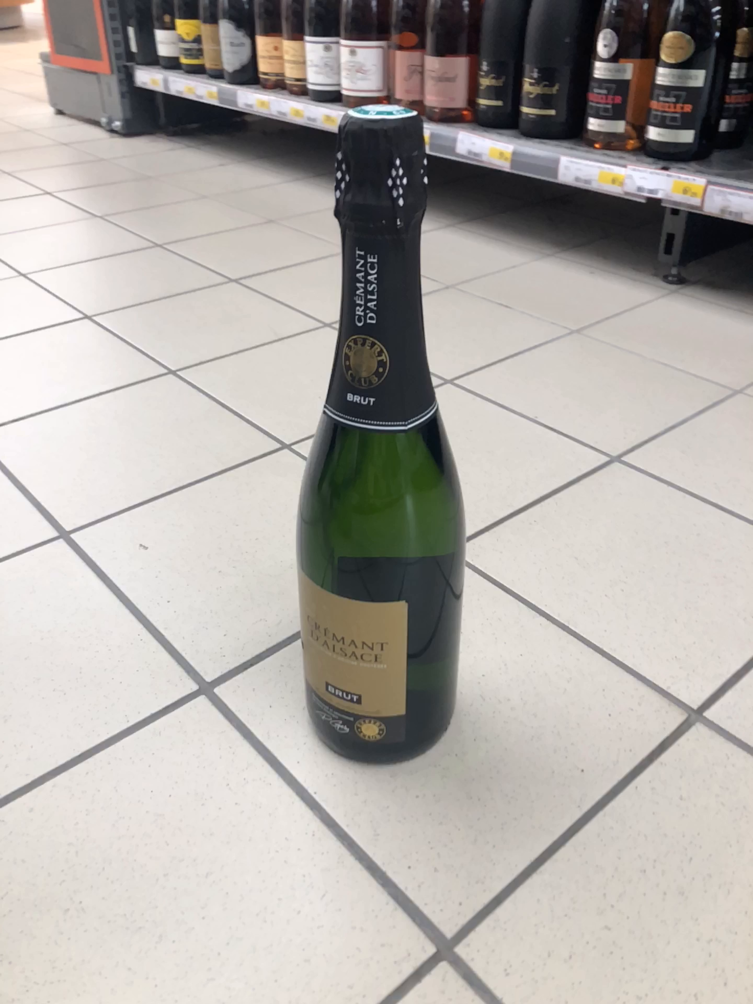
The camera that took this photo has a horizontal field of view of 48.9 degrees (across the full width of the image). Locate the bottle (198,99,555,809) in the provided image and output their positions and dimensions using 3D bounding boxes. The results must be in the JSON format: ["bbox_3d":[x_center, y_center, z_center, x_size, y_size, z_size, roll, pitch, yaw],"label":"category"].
[{"bbox_3d":[0.003,-0.011,0.389,0.100,0.308,0.091,18,36,26],"label":"bottle"}]
